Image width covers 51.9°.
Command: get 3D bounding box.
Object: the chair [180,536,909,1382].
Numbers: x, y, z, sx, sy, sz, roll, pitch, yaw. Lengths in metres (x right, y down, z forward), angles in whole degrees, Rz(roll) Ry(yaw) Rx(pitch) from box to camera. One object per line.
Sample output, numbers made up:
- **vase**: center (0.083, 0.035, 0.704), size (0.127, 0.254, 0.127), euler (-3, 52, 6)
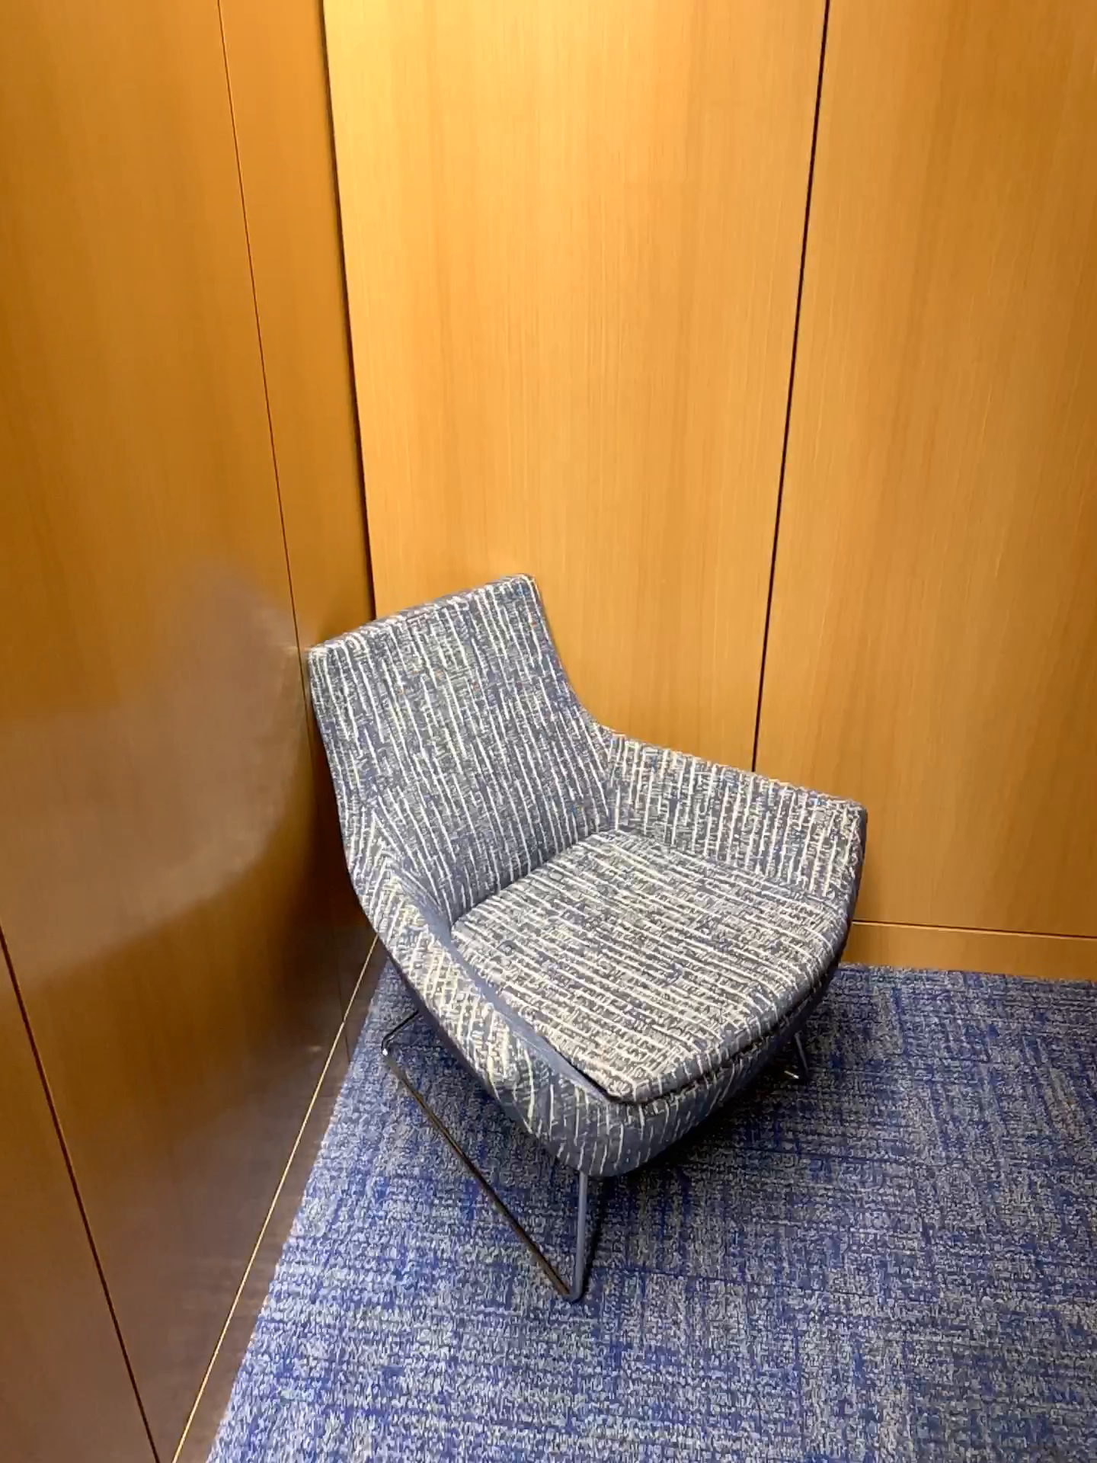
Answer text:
- **chair**: center (0.010, 0.236, 1.604), size (0.614, 0.746, 0.703), euler (23, 36, 37)
